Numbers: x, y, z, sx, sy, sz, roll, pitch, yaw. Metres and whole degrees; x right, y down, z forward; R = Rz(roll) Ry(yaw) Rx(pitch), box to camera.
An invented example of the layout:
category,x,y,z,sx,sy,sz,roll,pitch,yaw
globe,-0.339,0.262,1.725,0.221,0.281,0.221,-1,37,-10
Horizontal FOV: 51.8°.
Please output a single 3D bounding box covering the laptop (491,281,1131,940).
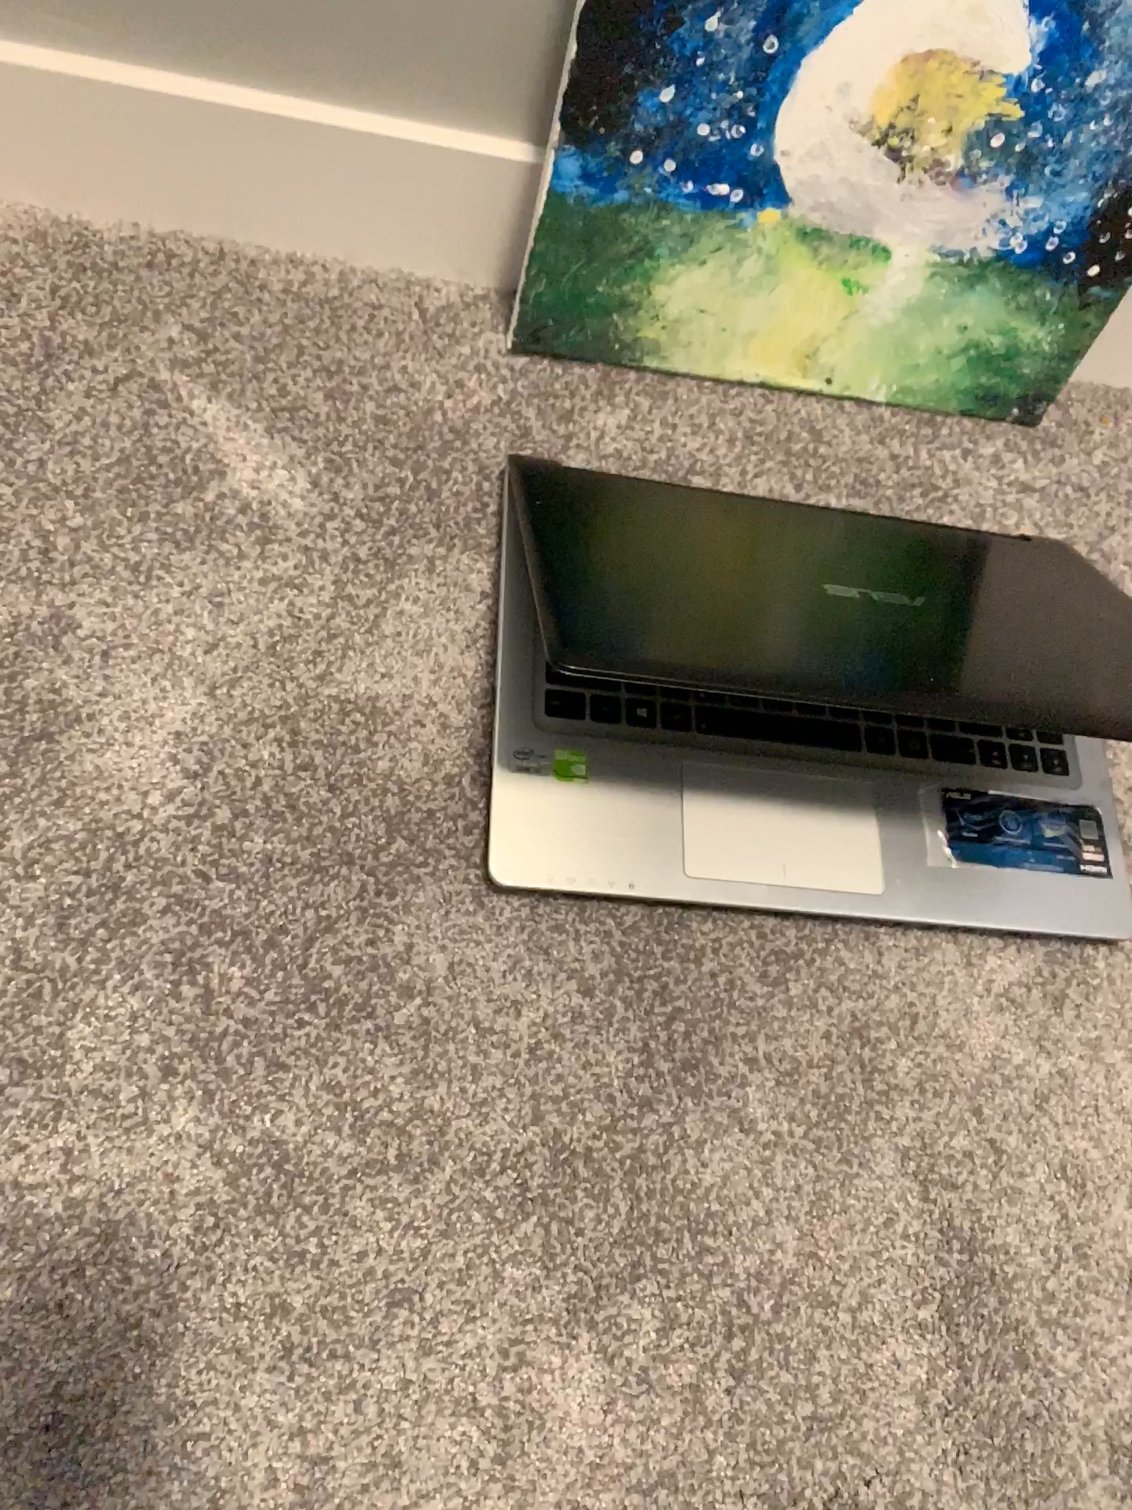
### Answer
category,x,y,z,sx,sy,sz,roll,pitch,yaw
laptop,0.153,-0.061,0.587,0.355,0.134,0.253,6,65,-11
